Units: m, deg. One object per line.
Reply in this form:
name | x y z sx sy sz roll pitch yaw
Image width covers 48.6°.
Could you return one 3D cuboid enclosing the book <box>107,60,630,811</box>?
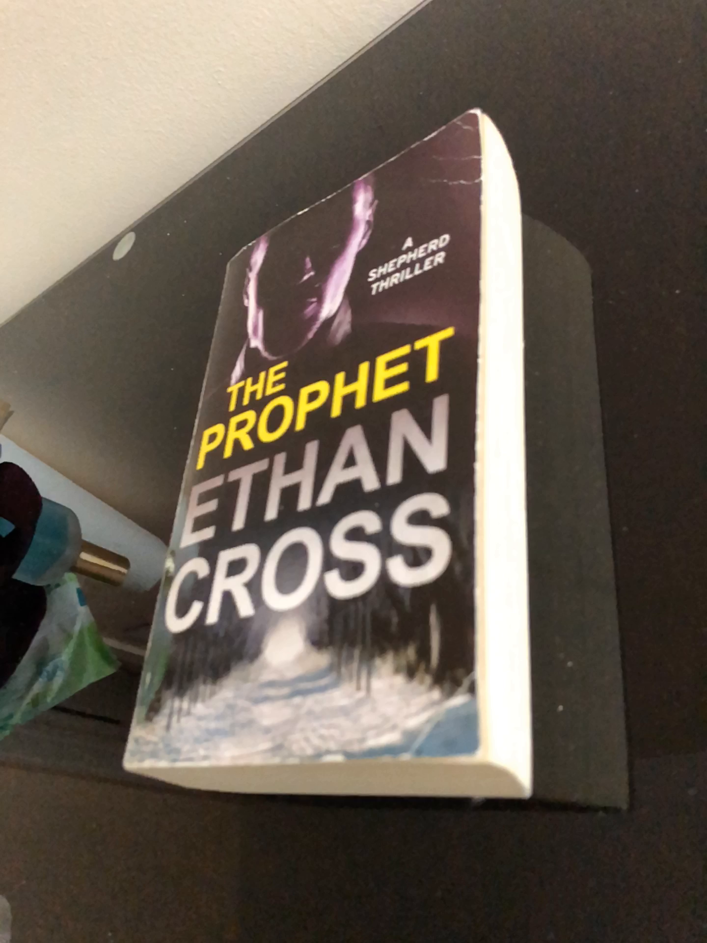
book | 0.004 -0.009 0.214 0.115 0.040 0.180 -16 55 36
